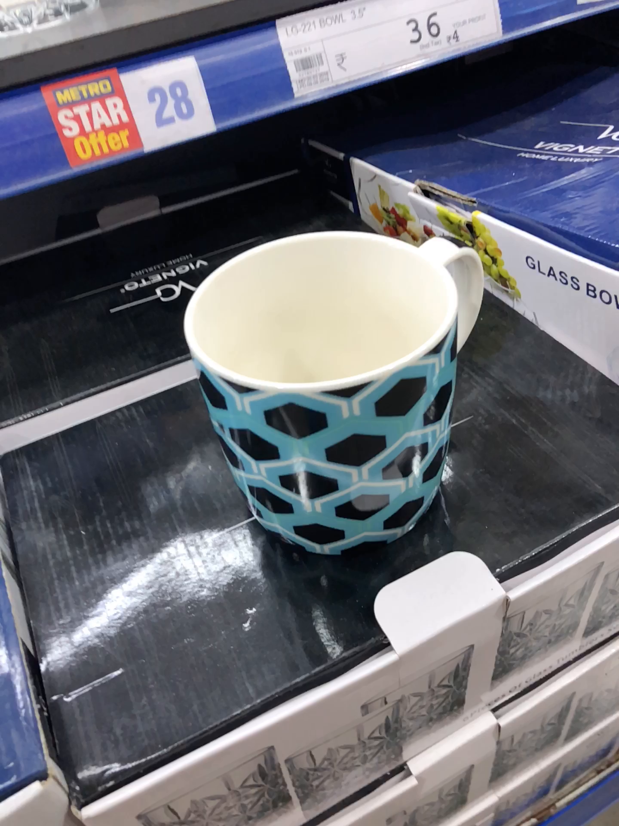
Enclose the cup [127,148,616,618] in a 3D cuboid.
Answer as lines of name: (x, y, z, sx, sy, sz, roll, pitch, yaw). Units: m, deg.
cup: (0.025, -0.019, 0.251, 0.130, 0.090, 0.090, -33, 47, -24)
